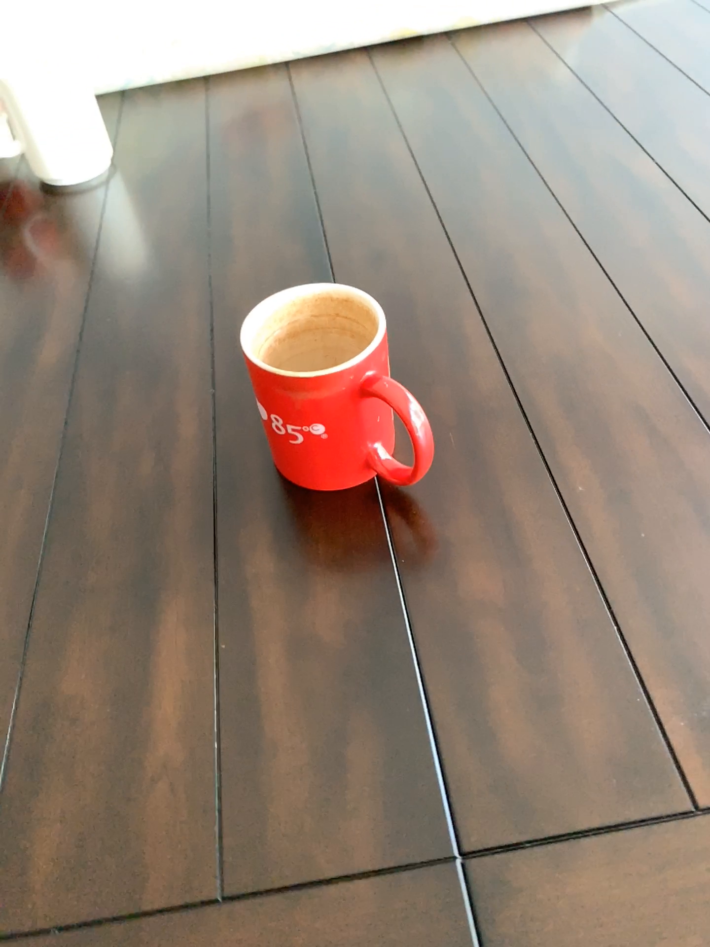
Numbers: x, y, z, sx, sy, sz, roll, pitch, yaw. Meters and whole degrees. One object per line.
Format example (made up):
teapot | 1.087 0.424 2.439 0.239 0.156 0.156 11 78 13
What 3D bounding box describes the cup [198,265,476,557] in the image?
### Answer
cup | -0.009 -0.041 0.431 0.090 0.090 0.131 -36 53 -22
